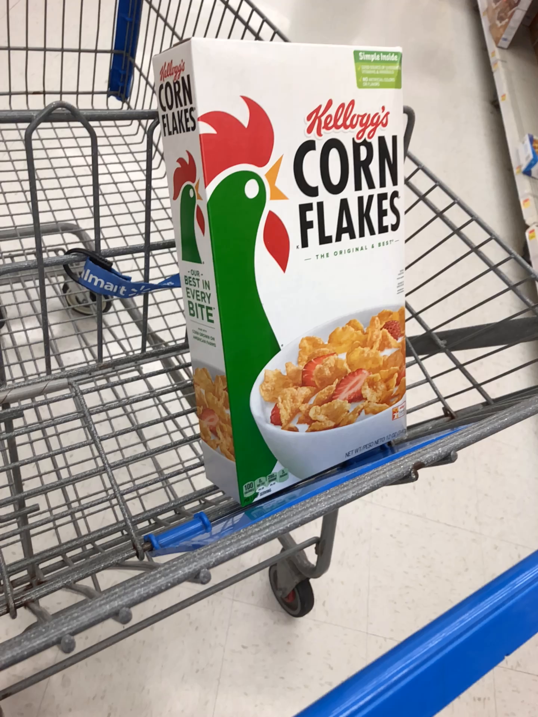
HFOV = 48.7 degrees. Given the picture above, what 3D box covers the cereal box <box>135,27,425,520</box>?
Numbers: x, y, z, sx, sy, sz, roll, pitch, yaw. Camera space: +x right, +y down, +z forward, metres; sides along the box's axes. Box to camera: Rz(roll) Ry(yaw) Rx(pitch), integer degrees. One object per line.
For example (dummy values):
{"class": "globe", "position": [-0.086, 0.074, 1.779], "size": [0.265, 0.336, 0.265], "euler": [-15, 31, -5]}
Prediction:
{"class": "cereal box", "position": [0.029, -0.070, 0.488], "size": [0.210, 0.340, 0.070], "euler": [-17, 21, -31]}
